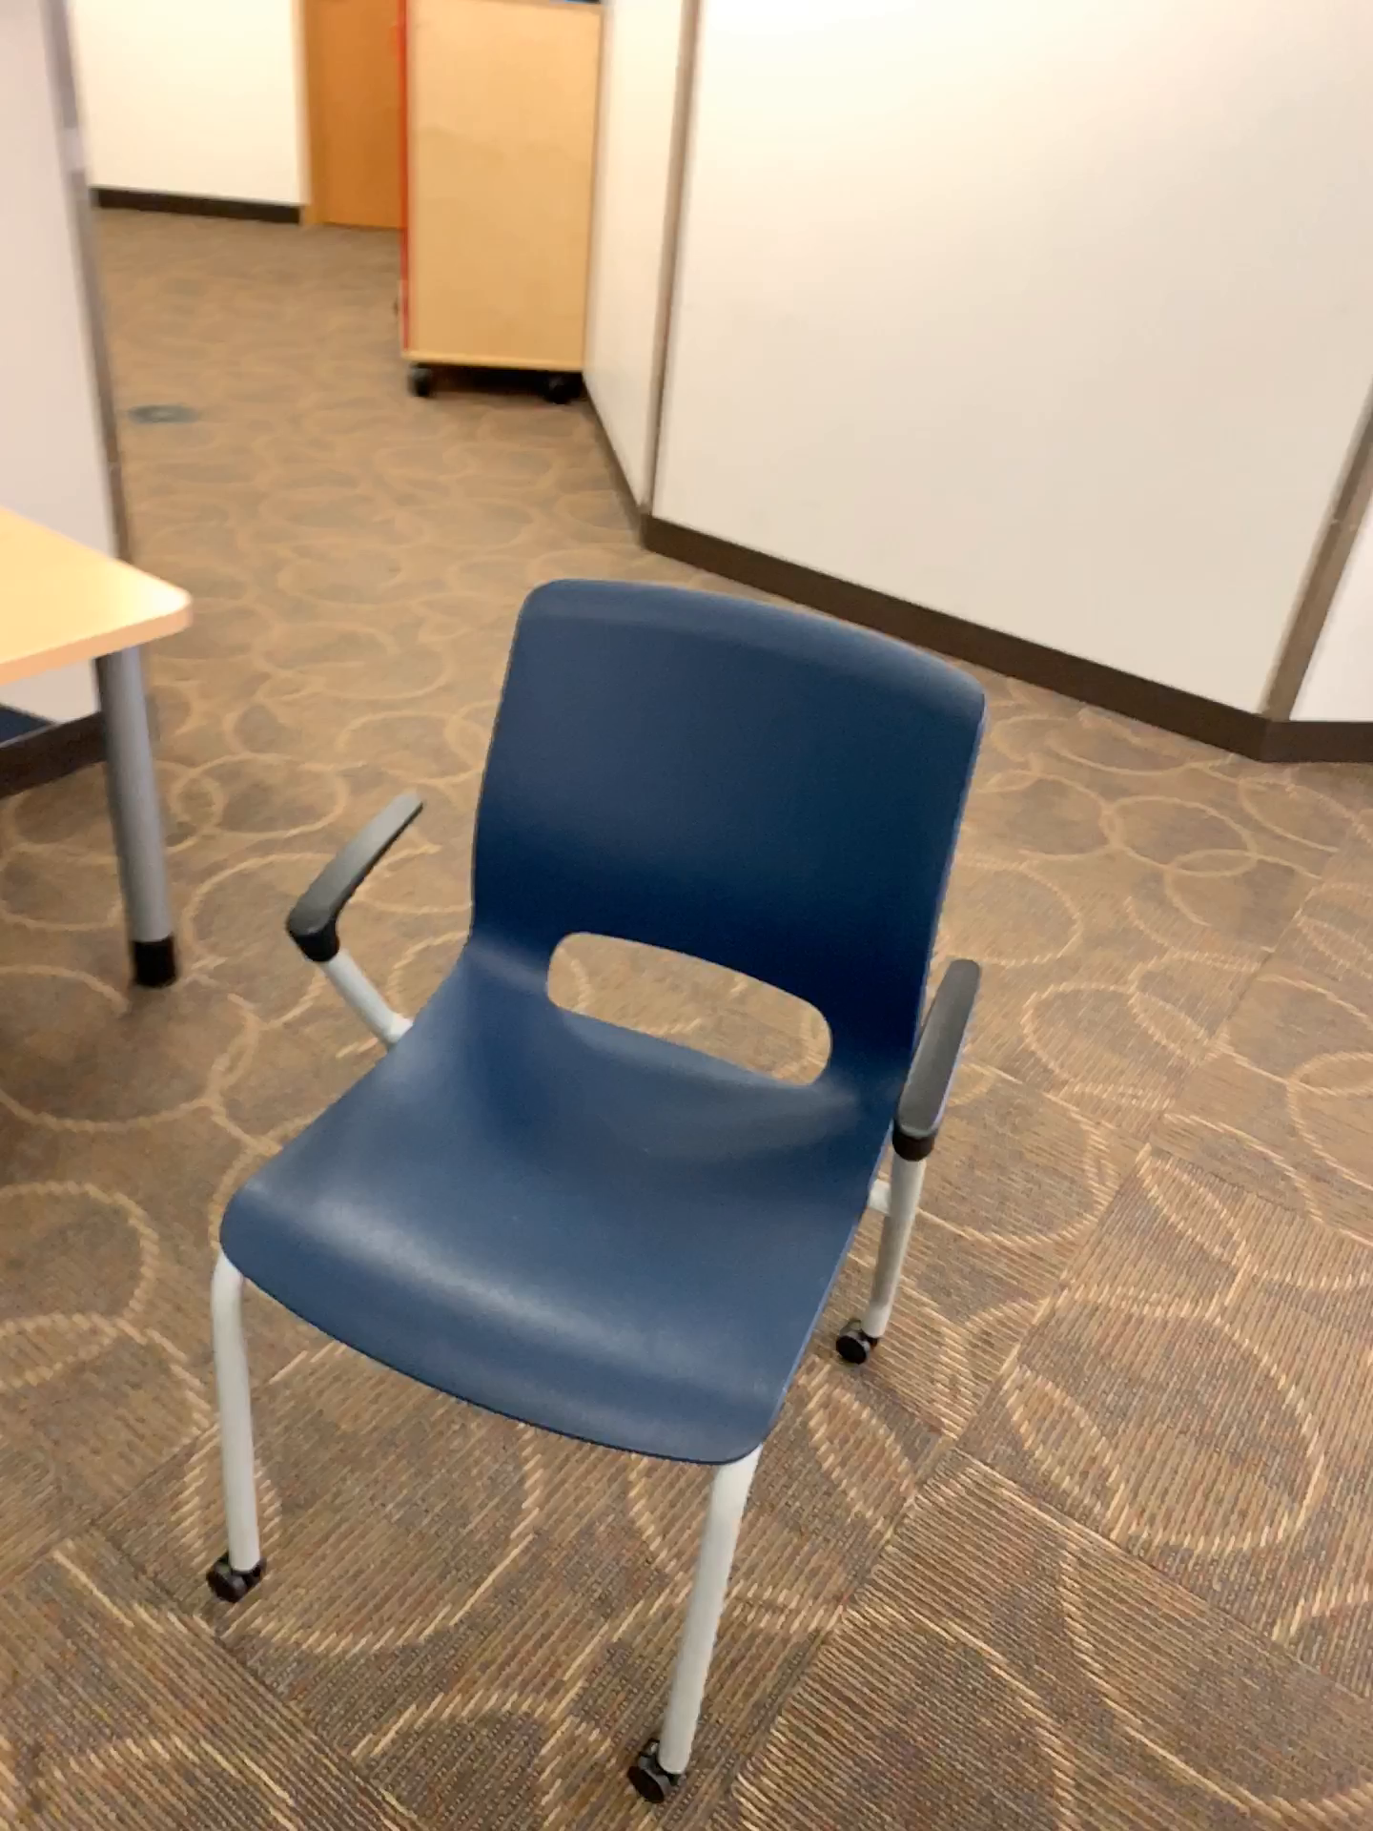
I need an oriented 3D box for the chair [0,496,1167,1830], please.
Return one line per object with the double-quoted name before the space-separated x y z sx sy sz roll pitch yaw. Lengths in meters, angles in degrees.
"chair" -0.071 0.156 1.088 0.621 0.686 0.613 17 35 15
